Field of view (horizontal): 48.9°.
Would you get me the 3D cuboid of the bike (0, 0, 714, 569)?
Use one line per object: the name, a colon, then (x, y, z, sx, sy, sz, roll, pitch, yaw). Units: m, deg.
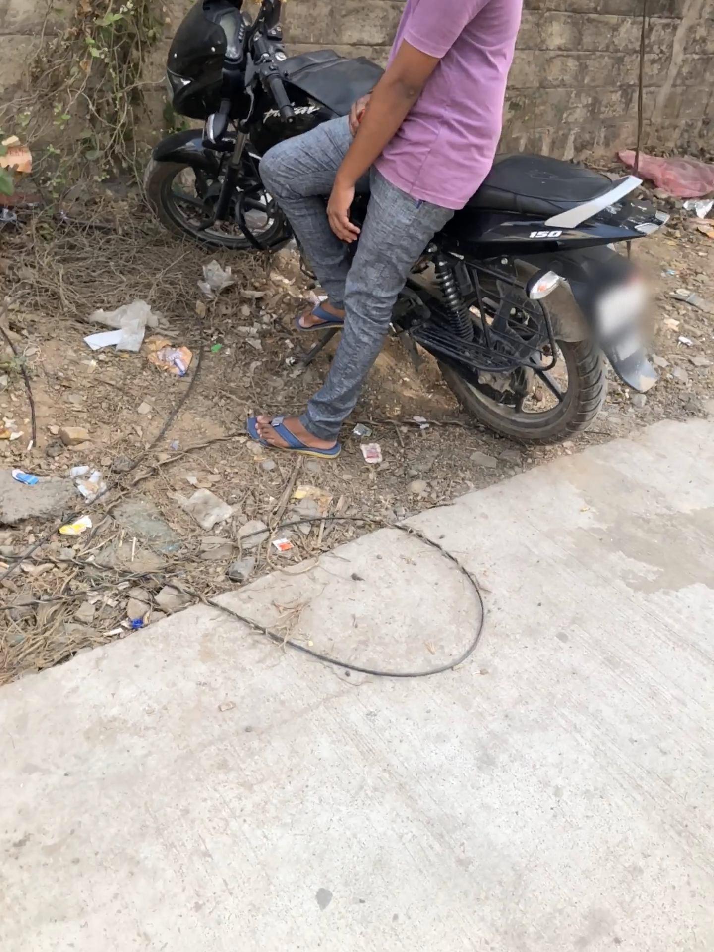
bike: (-0.096, -0.827, 2.254, 1.811, 1.215, 0.818, 29, 41, 23)
